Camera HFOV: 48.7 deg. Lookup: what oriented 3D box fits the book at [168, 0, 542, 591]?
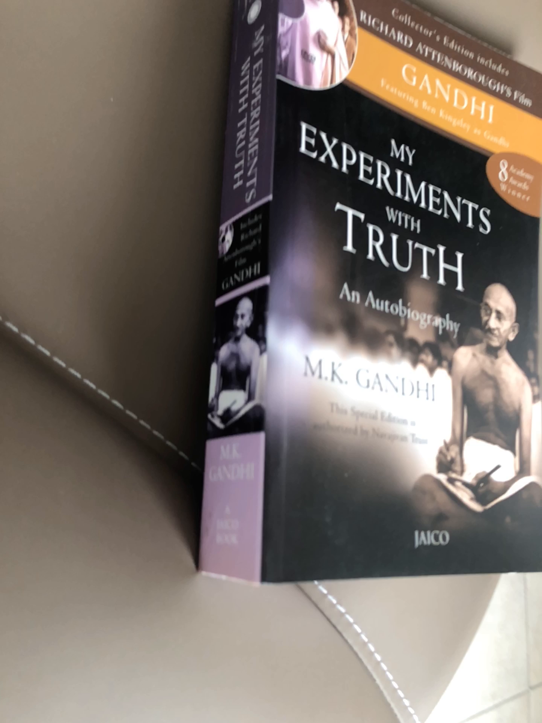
[{"bbox_3d":[0.051,-0.044,0.235,0.151,0.050,0.240,12,74,-33],"label":"book"}]
